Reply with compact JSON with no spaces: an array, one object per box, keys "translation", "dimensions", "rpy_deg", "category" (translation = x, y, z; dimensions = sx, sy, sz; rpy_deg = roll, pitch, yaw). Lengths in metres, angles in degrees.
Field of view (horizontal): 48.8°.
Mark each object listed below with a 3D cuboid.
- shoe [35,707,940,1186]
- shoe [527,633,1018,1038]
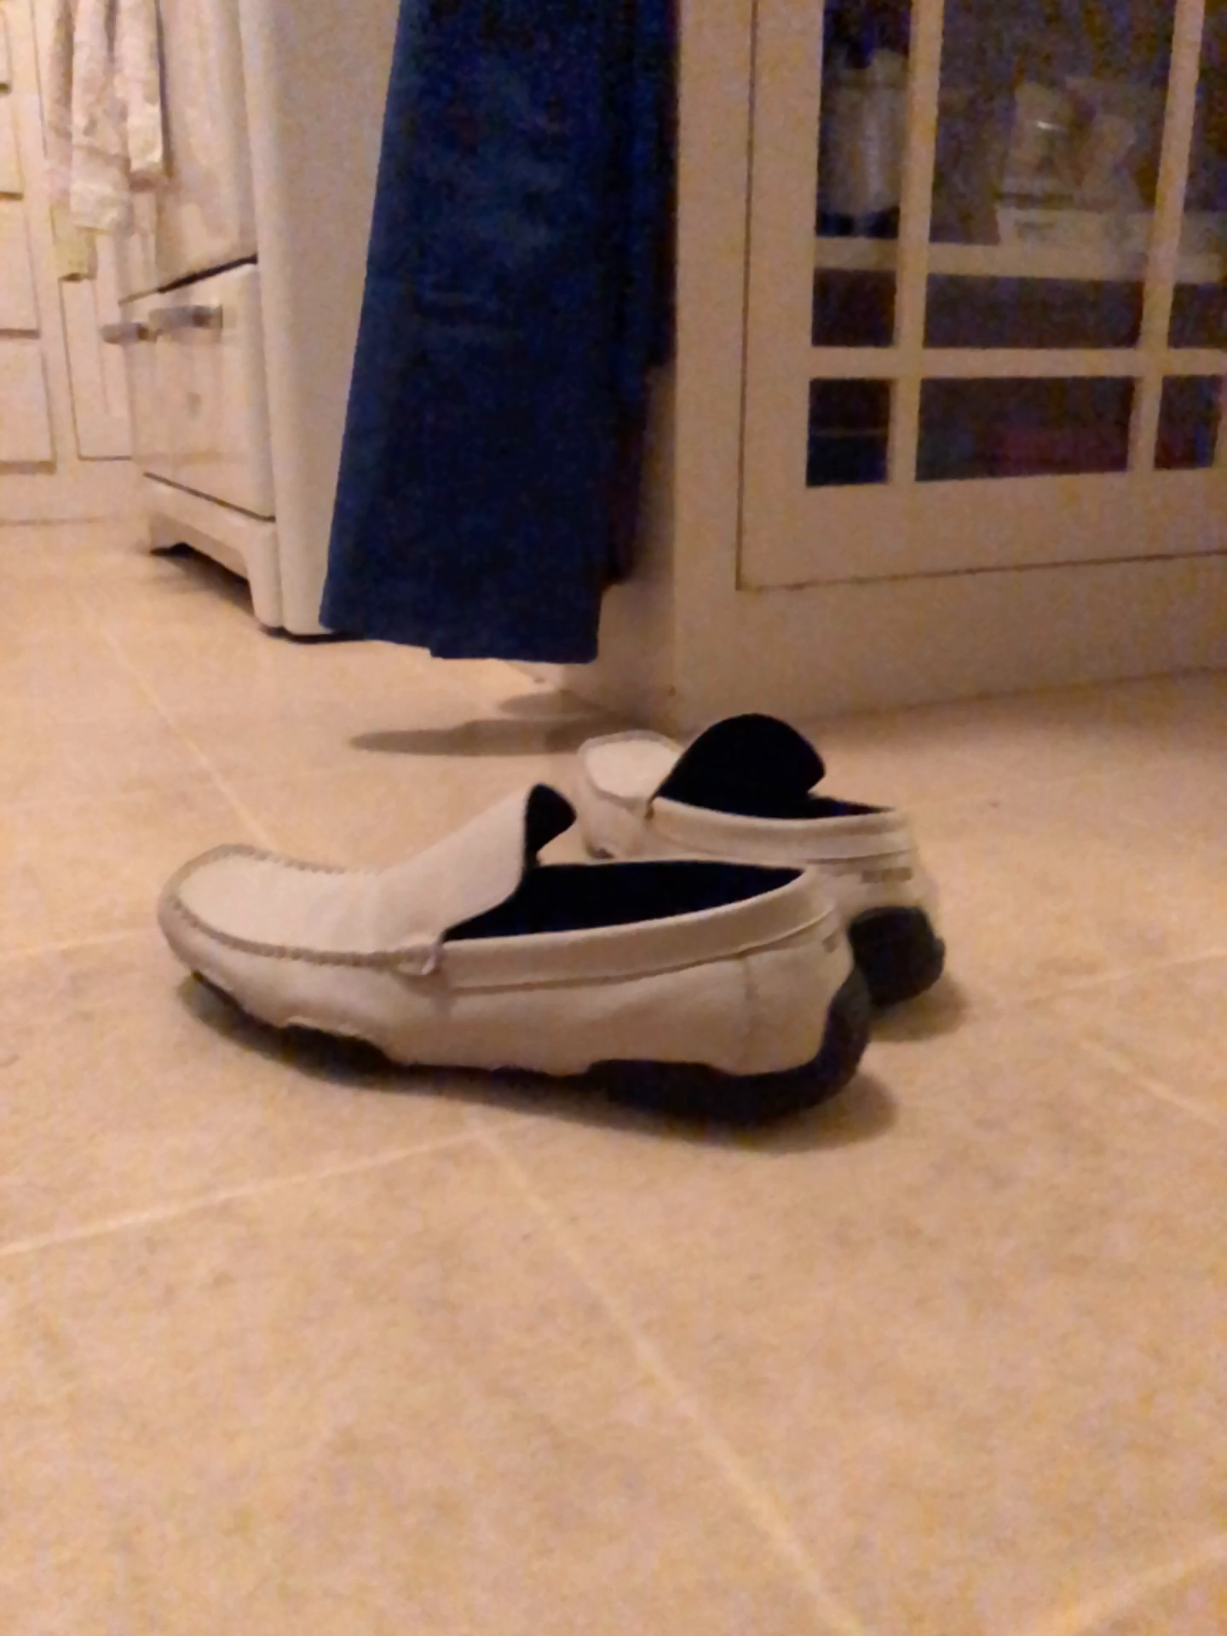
[{"translation":[-0.047,0.032,0.499],"dimensions":[0.306,0.097,0.111],"rpy_deg":[7,19,20],"category":"shoe"},{"translation":[0.052,-0.012,0.636],"dimensions":[0.110,0.097,0.290],"rpy_deg":[-6,19,-18],"category":"shoe"}]
